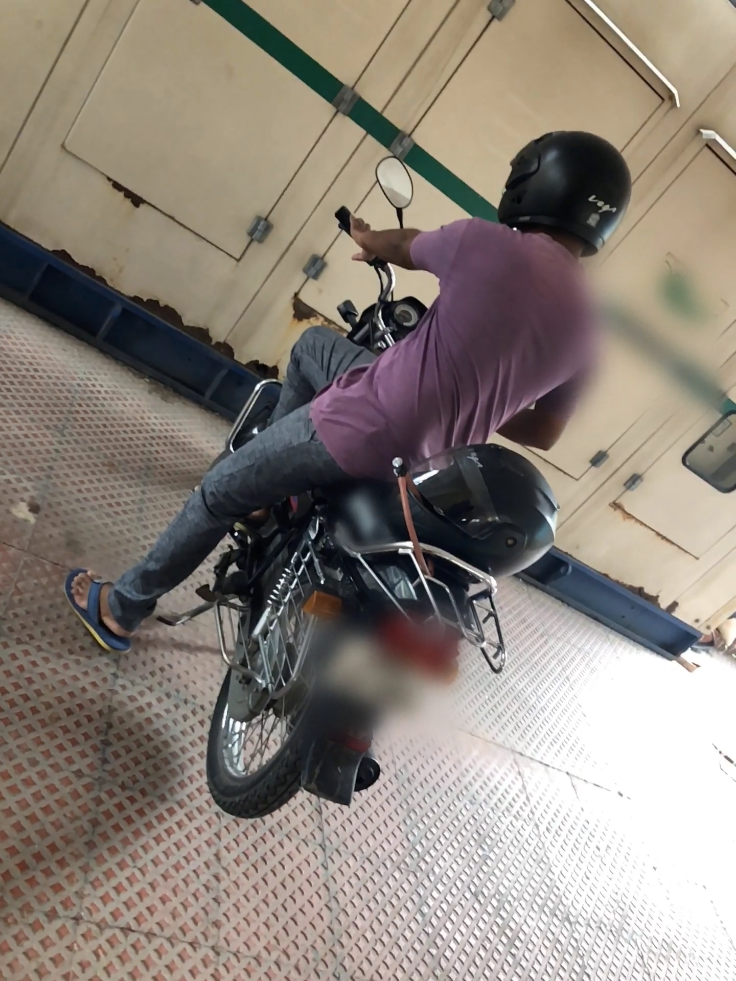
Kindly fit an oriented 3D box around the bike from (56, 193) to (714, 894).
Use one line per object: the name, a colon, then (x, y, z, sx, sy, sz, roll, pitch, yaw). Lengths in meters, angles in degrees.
bike: (0.056, -0.007, 2.173, 0.814, 0.928, 1.603, 33, 26, -18)
